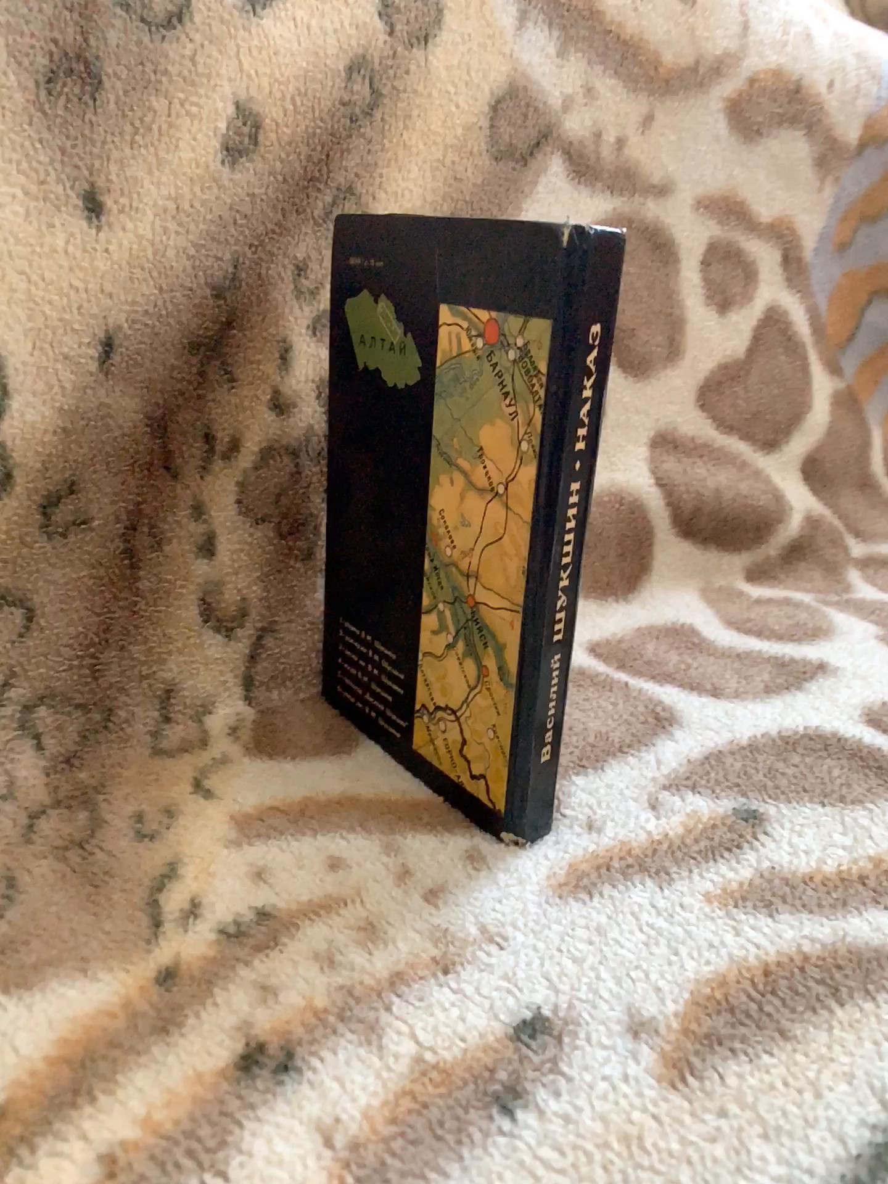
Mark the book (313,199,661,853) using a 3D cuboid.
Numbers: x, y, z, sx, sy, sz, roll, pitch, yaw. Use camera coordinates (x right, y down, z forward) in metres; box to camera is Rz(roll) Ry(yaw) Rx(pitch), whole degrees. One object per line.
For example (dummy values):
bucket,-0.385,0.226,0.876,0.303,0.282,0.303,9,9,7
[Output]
book,0.001,-0.030,0.329,0.030,0.199,0.131,-11,26,-36
